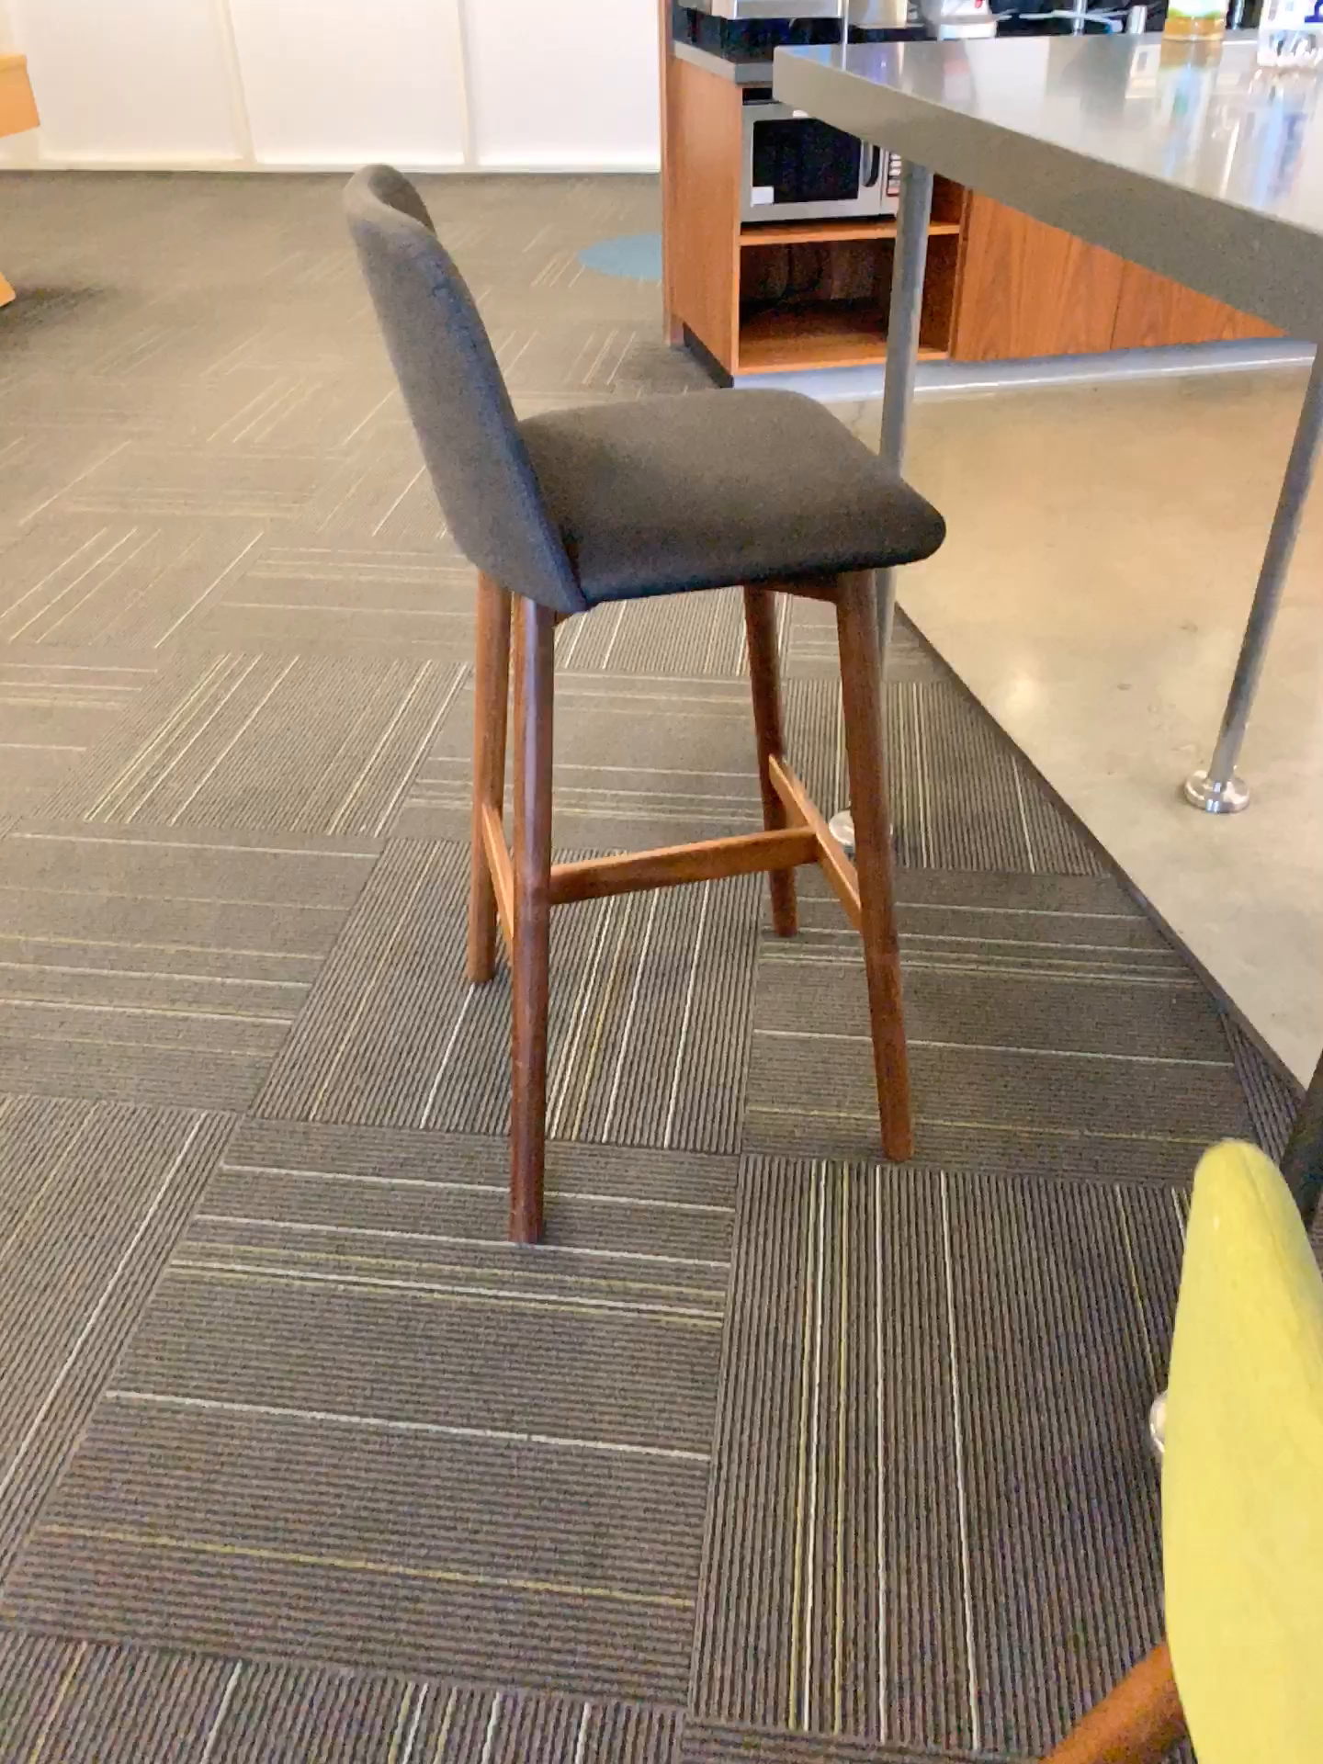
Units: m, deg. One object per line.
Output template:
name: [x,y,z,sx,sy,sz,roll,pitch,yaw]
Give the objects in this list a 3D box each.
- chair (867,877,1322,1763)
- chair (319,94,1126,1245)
chair: [0.419,0.490,0.584,0.480,0.825,0.443,-7,36,-9]
chair: [-0.002,-0.235,1.446,0.540,0.974,0.644,-9,37,-10]
